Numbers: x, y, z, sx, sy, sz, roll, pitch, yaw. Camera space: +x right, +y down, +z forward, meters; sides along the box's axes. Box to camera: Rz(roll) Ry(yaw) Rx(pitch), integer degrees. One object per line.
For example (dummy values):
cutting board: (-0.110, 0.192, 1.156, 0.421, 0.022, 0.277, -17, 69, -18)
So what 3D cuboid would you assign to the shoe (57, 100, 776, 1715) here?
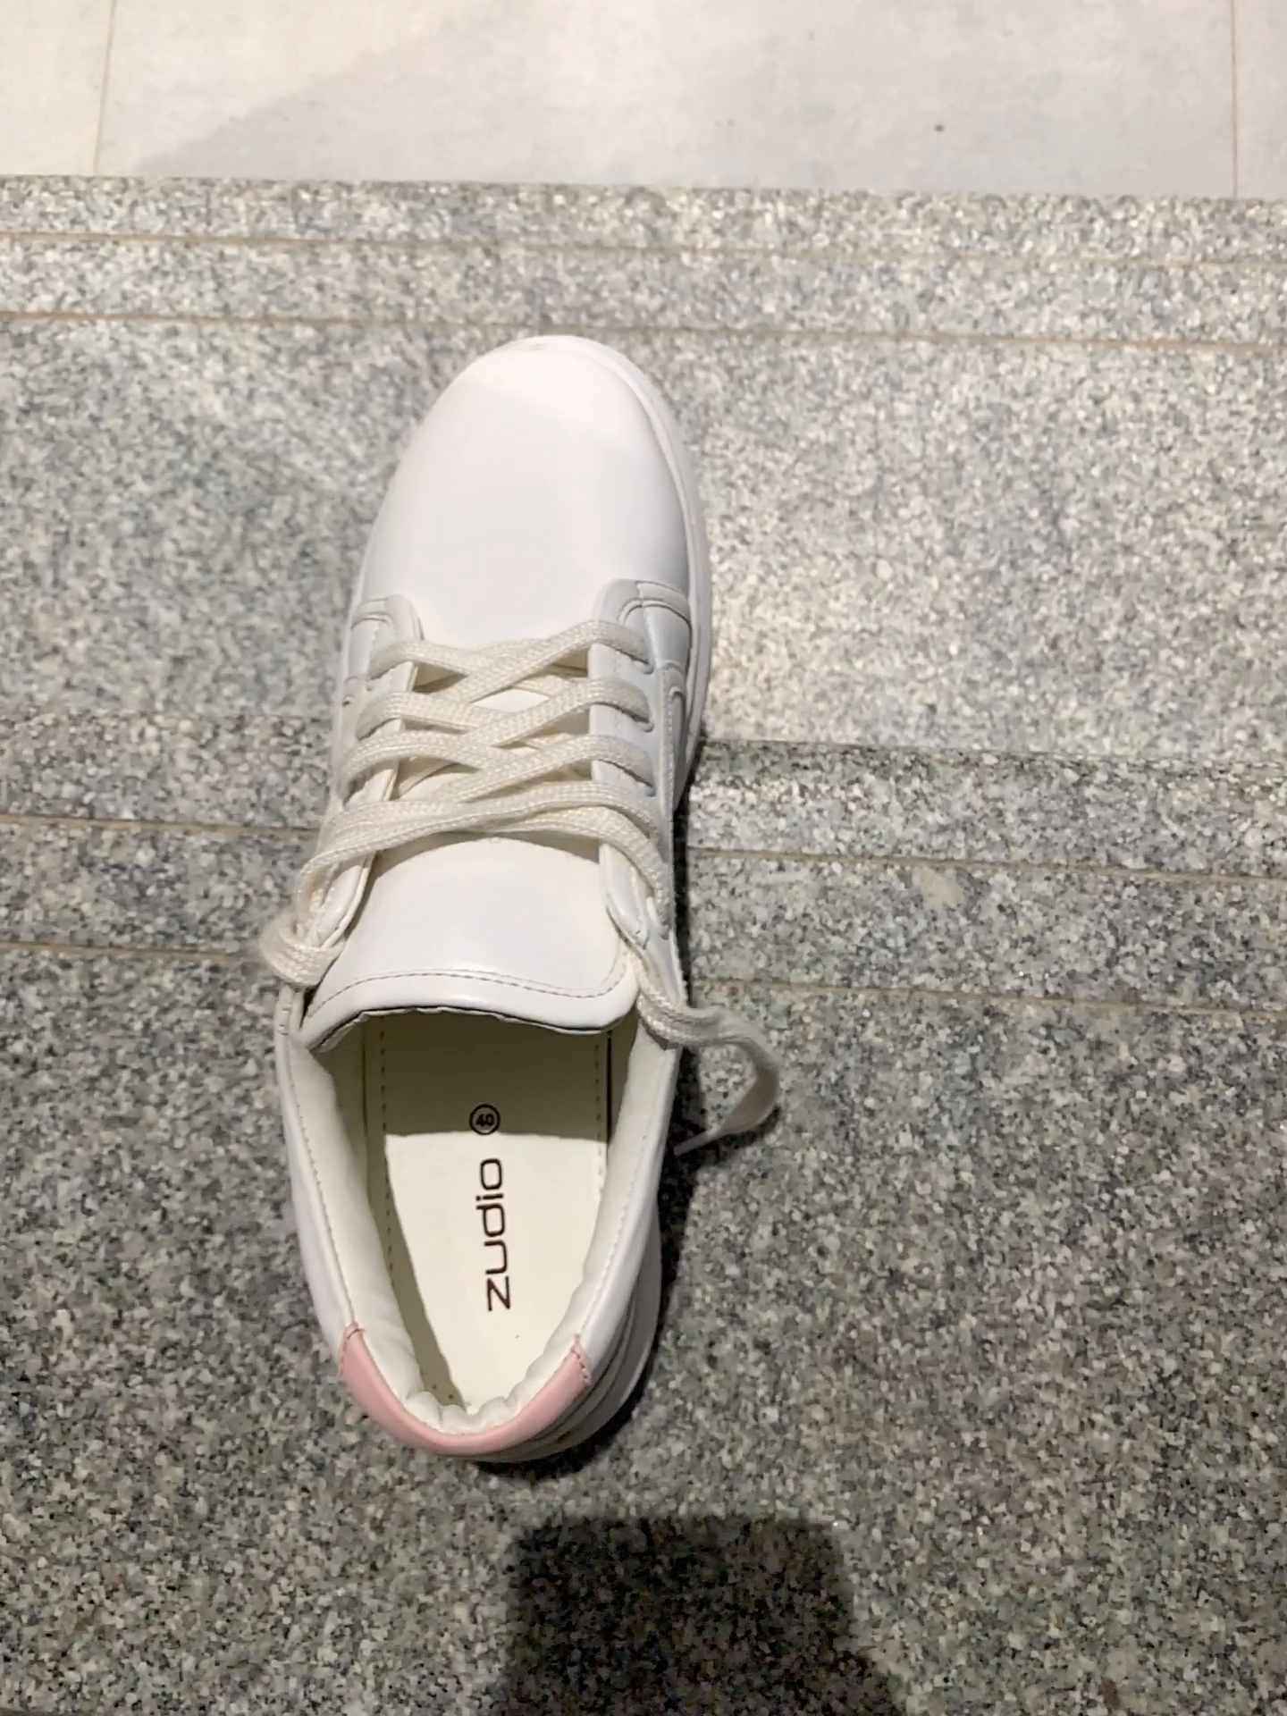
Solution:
shoe: (-0.034, 0.004, 0.294, 0.110, 0.110, 0.290, 2, 83, 3)
